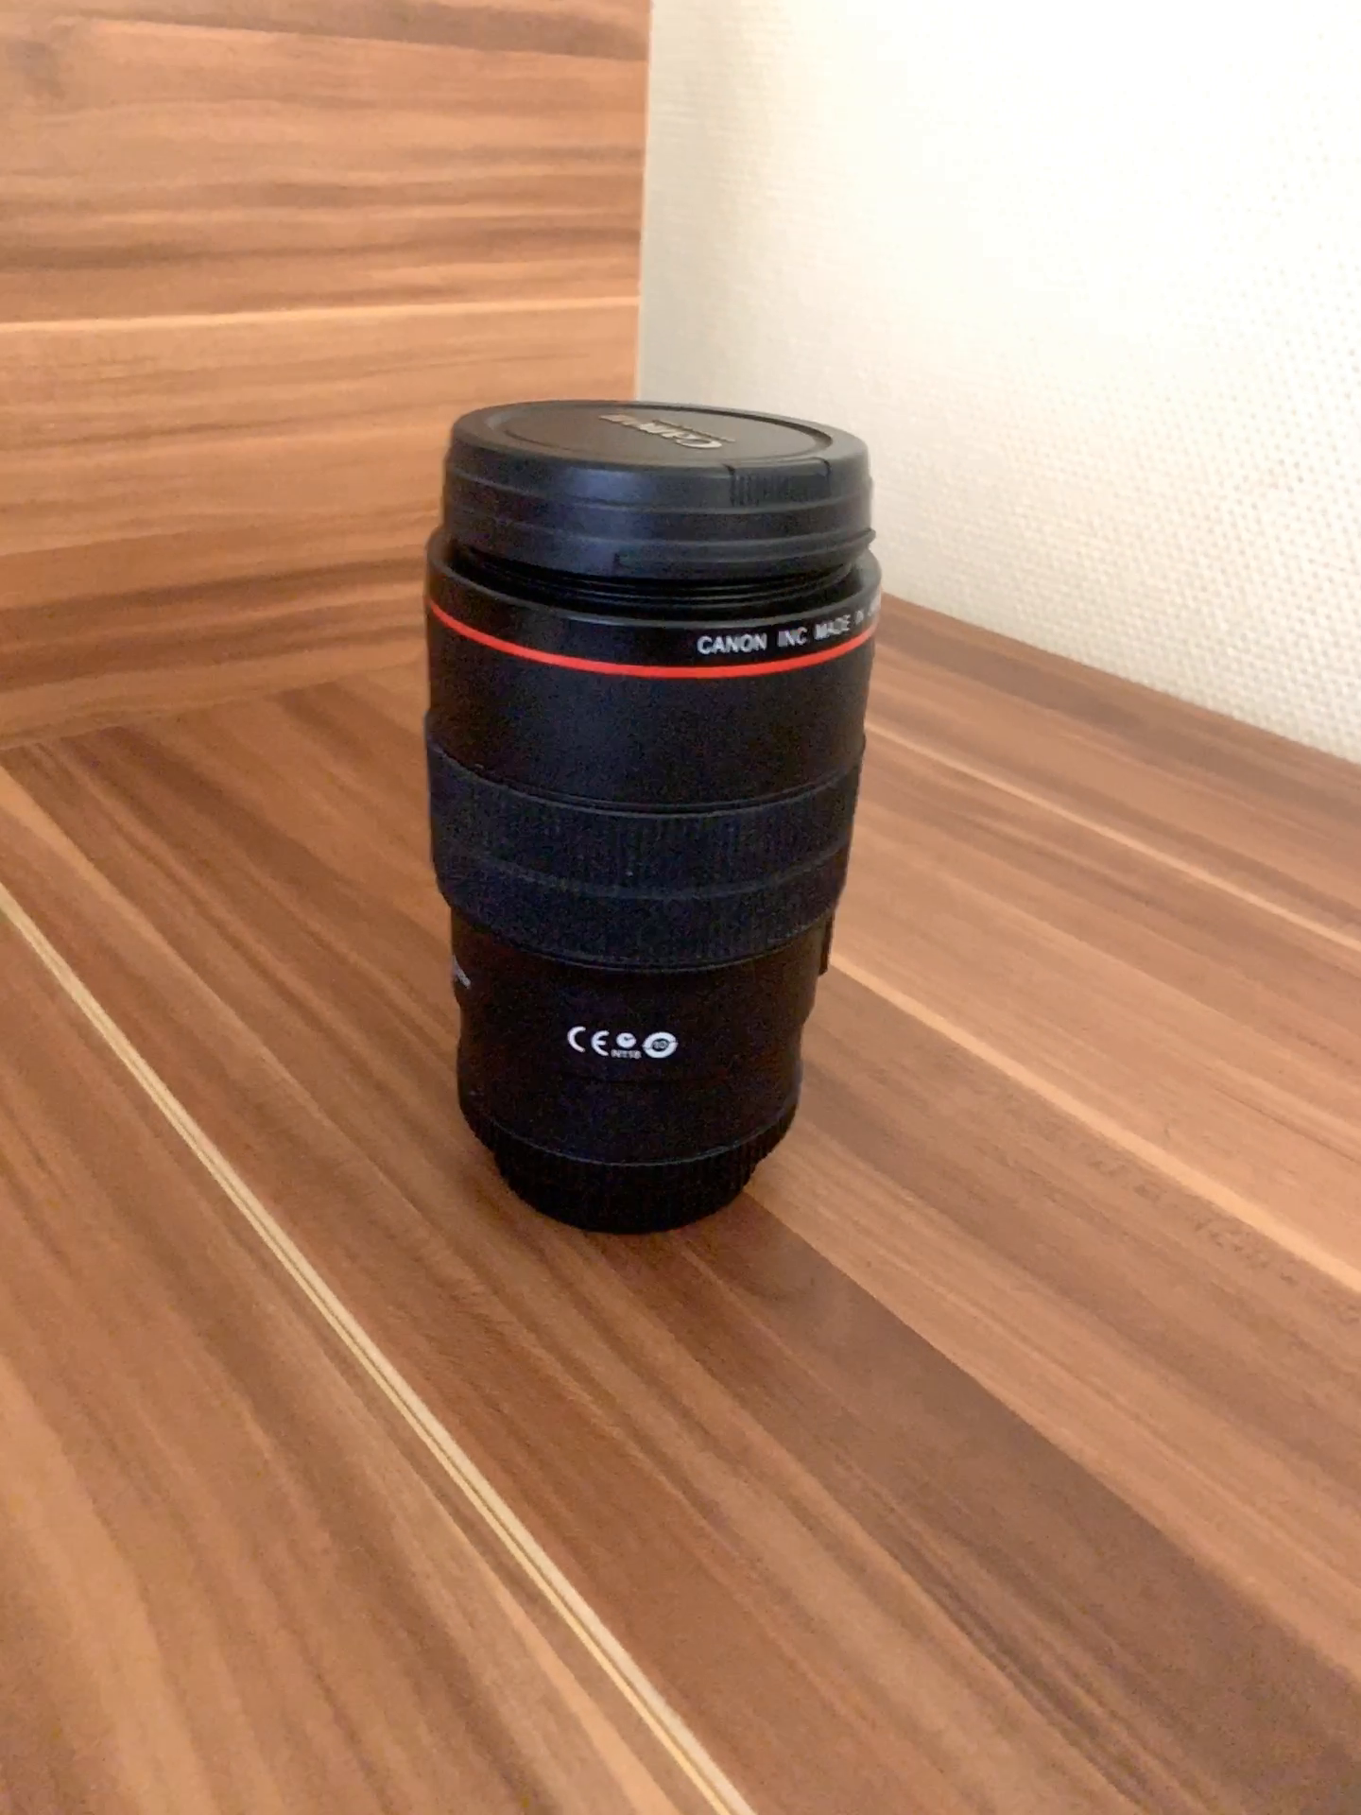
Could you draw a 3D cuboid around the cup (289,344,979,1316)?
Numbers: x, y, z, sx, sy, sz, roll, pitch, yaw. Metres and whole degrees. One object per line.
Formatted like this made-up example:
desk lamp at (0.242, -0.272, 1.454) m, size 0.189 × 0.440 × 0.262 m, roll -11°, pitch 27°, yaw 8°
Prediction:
cup at (-0.009, -0.017, 0.250) m, size 0.080 × 0.139 × 0.070 m, roll 21°, pitch 34°, yaw 28°
